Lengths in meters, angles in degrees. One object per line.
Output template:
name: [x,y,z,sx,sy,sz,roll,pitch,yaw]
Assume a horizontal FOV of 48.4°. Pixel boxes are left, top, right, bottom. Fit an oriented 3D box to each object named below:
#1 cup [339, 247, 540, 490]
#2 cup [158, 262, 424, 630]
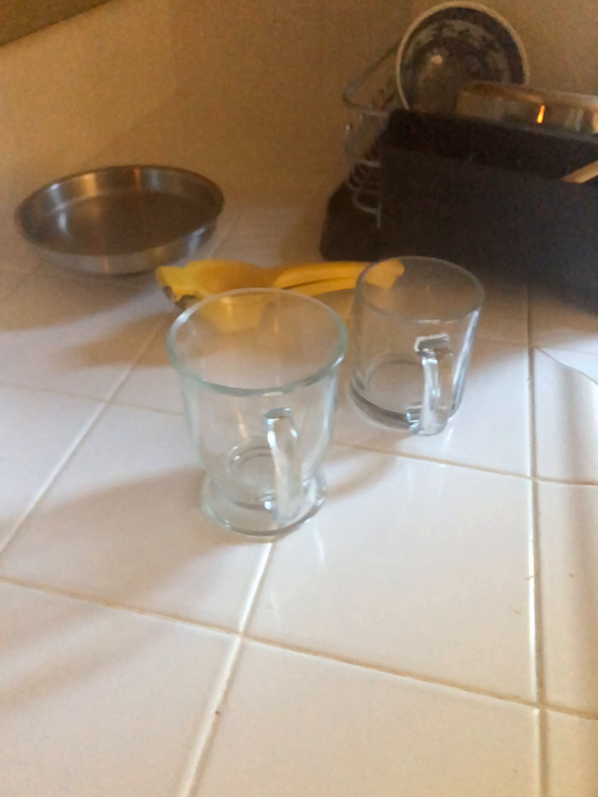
cup: [0.086,-0.023,0.459,0.090,0.109,0.121,-5,41,-6]
cup: [-0.011,0.023,0.378,0.090,0.139,0.131,-15,43,-18]
